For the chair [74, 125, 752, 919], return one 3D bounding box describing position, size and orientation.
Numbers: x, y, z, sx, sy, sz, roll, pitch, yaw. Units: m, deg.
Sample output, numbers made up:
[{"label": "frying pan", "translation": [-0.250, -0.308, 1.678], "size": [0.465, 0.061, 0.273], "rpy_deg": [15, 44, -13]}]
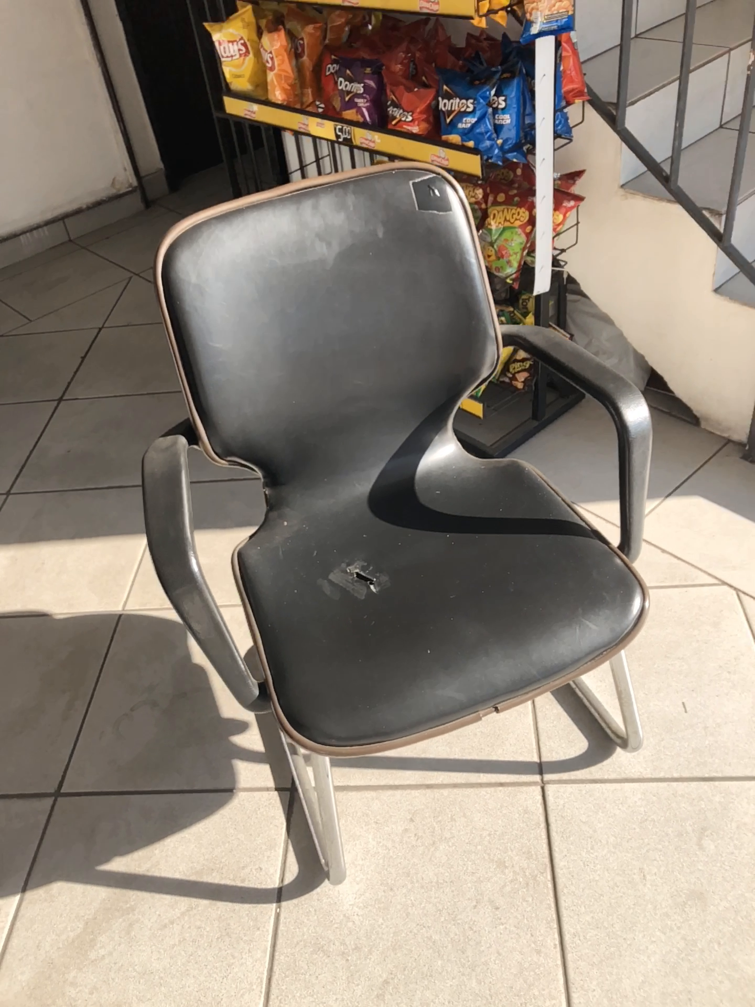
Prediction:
[{"label": "chair", "translation": [0.025, 0.021, 1.196], "size": [0.580, 0.824, 0.584], "rpy_deg": [-19, 41, -12]}]
